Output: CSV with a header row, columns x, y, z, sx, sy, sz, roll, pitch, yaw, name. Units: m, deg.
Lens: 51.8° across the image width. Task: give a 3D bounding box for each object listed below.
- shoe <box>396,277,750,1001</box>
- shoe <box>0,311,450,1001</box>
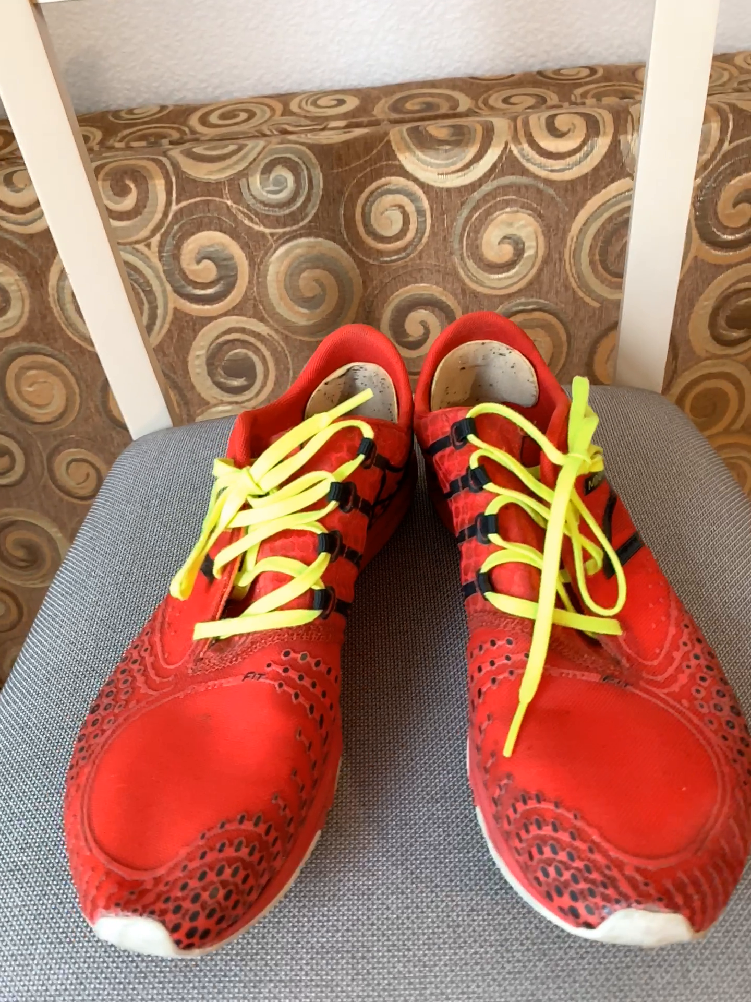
x,y,z,sx,sy,sz,roll,pitch,yaw,name
0.082,0.030,0.307,0.110,0.090,0.261,-8,49,0,shoe
-0.049,0.041,0.319,0.110,0.090,0.261,8,51,13,shoe
